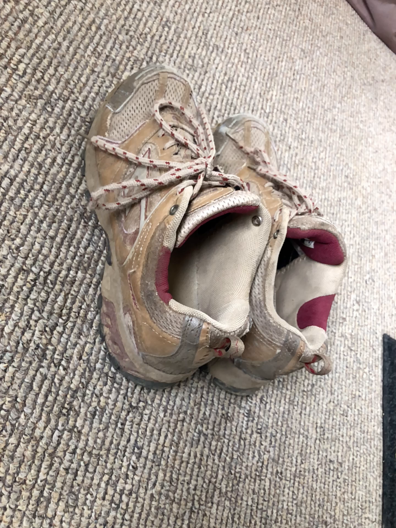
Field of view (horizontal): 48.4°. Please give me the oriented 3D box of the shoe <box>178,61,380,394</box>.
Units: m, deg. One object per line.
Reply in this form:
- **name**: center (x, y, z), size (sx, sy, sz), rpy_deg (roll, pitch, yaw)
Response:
- **shoe**: center (0.065, -0.024, 0.417), size (0.112, 0.123, 0.272), rpy_deg (16, 64, -36)

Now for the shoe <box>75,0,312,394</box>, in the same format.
- **shoe**: center (-0.016, -0.046, 0.351), size (0.111, 0.118, 0.270), rpy_deg (7, 69, -40)
